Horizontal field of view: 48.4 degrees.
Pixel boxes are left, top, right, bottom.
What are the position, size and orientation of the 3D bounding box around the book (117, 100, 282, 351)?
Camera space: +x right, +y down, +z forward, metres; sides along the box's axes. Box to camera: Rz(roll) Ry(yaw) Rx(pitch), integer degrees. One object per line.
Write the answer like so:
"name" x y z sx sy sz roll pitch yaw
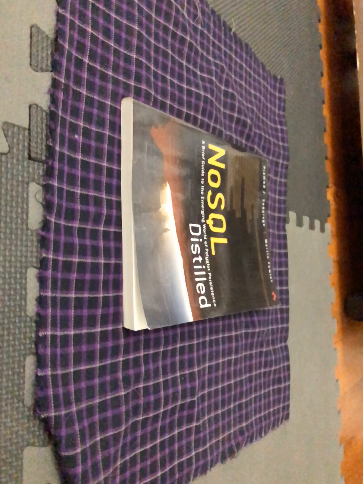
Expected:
"book" 0.036 -0.009 0.409 0.251 0.020 0.190 4 82 -53
